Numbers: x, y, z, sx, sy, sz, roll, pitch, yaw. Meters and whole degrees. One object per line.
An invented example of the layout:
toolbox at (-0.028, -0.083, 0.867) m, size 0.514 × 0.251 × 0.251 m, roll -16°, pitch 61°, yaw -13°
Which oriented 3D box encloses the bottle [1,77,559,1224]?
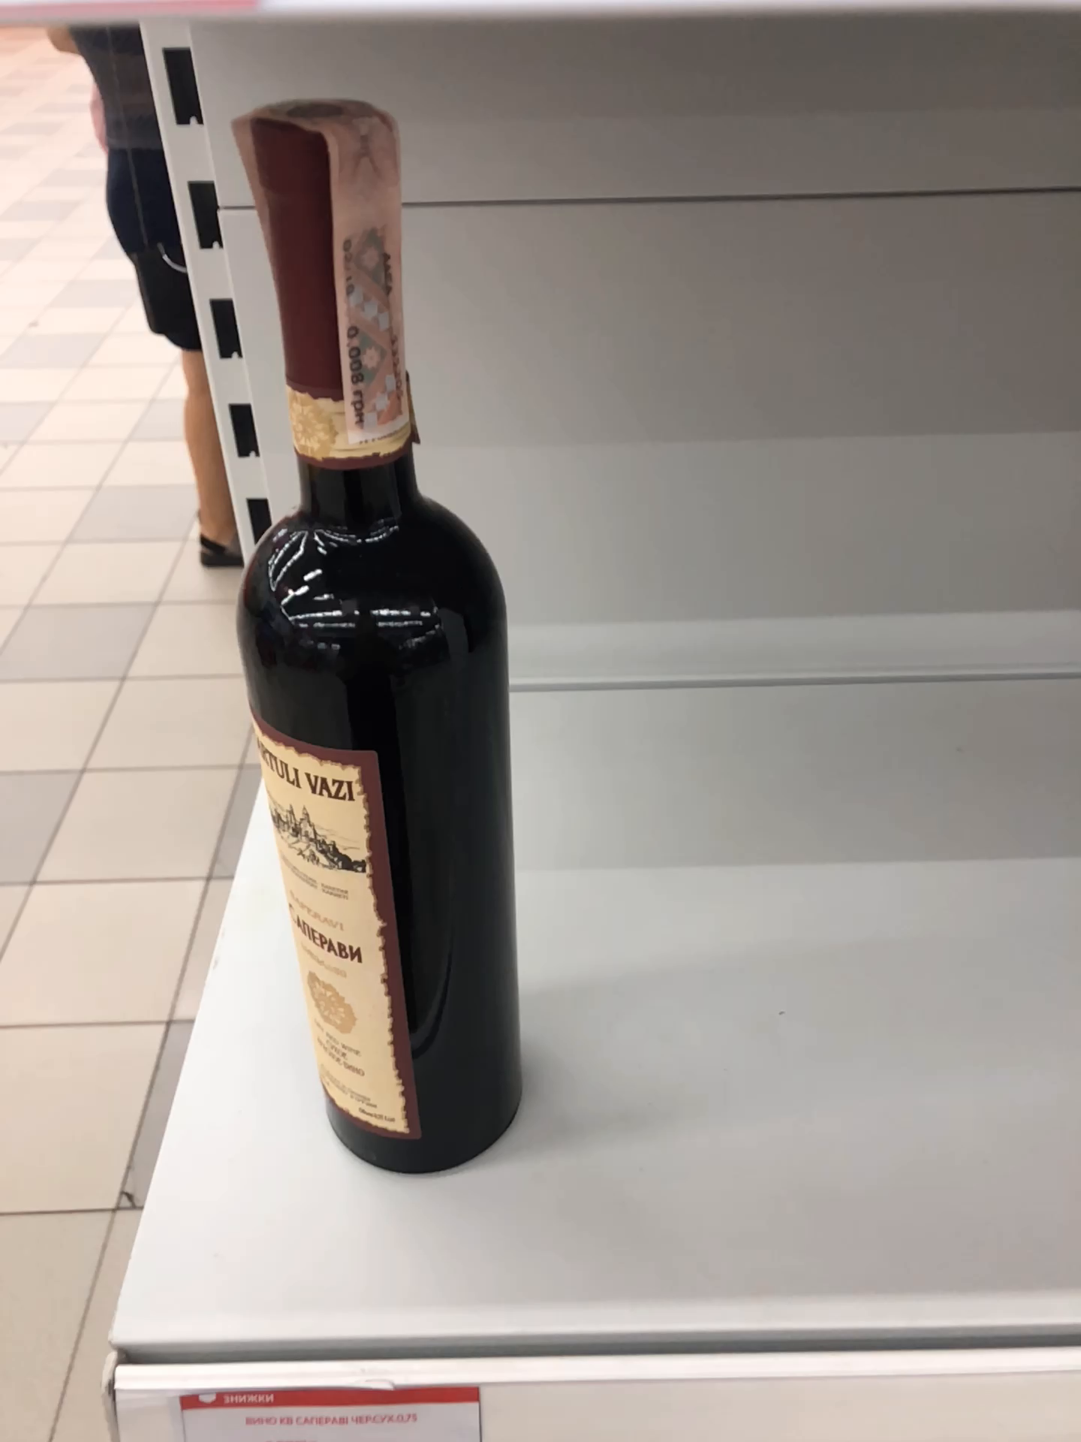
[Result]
bottle at (-0.049, 0.004, 0.319) m, size 0.079 × 0.299 × 0.069 m, roll 26°, pitch 45°, yaw 31°
